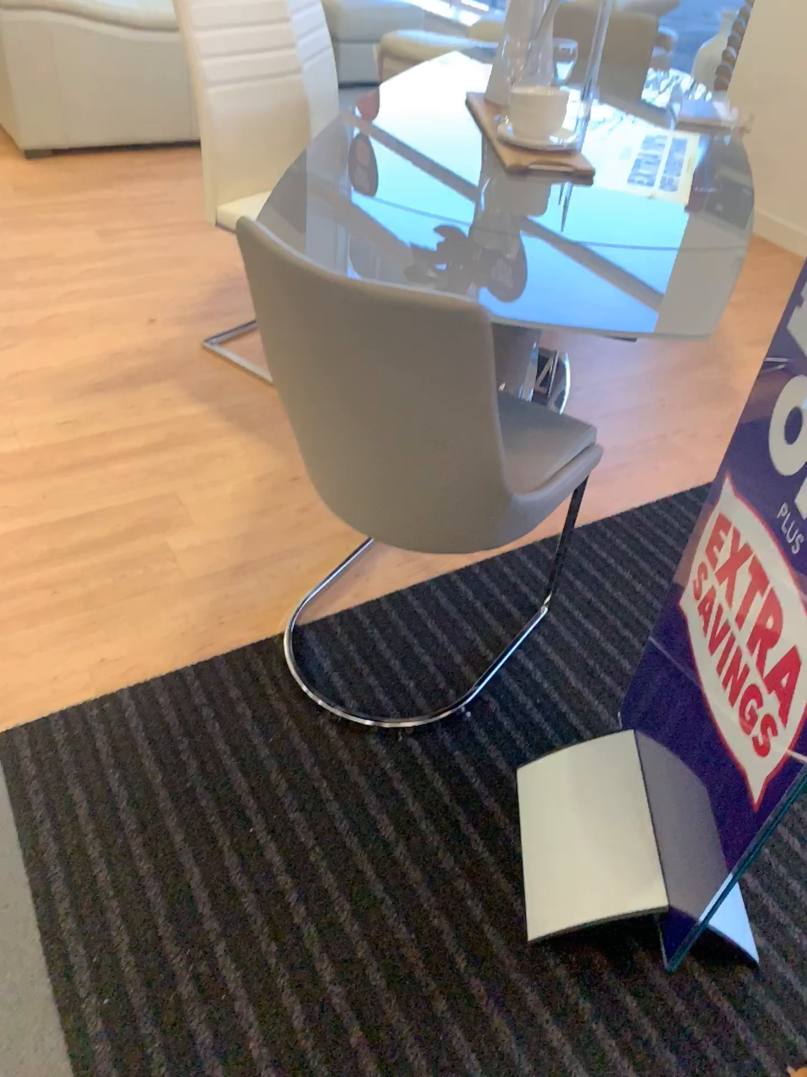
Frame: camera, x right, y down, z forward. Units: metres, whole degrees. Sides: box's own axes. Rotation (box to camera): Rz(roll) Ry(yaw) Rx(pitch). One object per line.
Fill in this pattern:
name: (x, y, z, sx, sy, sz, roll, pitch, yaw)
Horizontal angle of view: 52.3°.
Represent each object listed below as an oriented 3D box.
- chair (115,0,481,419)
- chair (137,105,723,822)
chair: (-0.272, -0.935, 2.153, 0.622, 0.931, 0.543, 31, 46, 26)
chair: (0.040, -0.148, 1.427, 0.532, 0.901, 0.685, 27, 44, 23)
